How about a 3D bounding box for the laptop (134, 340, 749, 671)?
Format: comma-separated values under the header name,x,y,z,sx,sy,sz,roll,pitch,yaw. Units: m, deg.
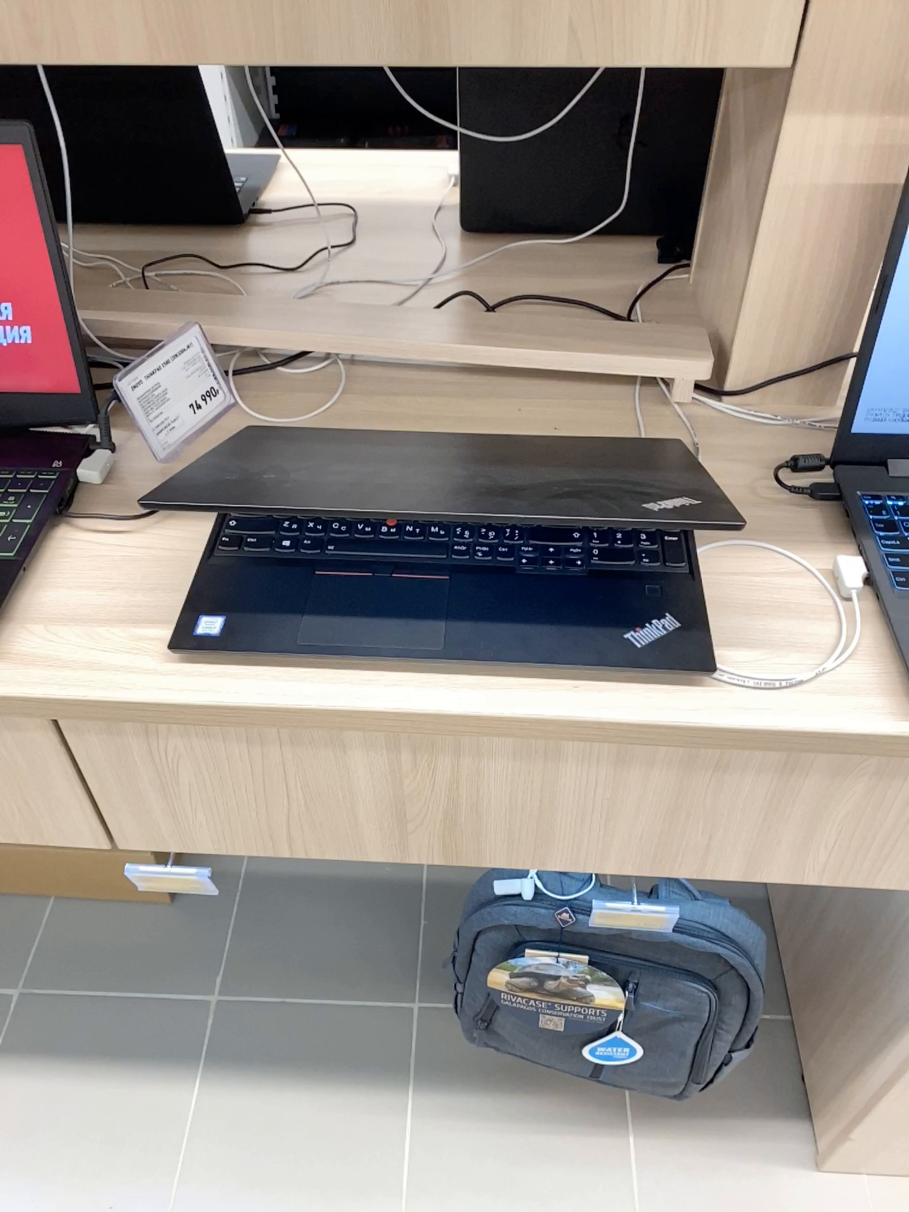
name,x,y,z,sx,sy,sz,roll,pitch,yaw
laptop,-0.003,-0.085,0.667,0.368,0.093,0.241,3,45,5
